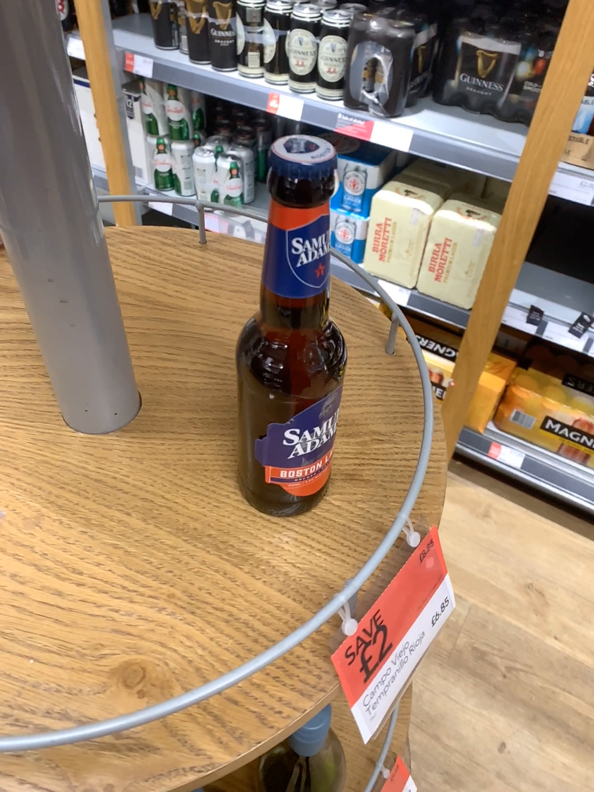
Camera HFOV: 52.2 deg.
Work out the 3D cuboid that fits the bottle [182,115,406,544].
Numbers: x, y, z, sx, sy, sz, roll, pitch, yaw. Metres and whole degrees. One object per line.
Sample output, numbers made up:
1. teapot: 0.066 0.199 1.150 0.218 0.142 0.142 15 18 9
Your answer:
1. bottle: -0.005 -0.018 0.311 0.061 0.211 0.063 2 46 -2
